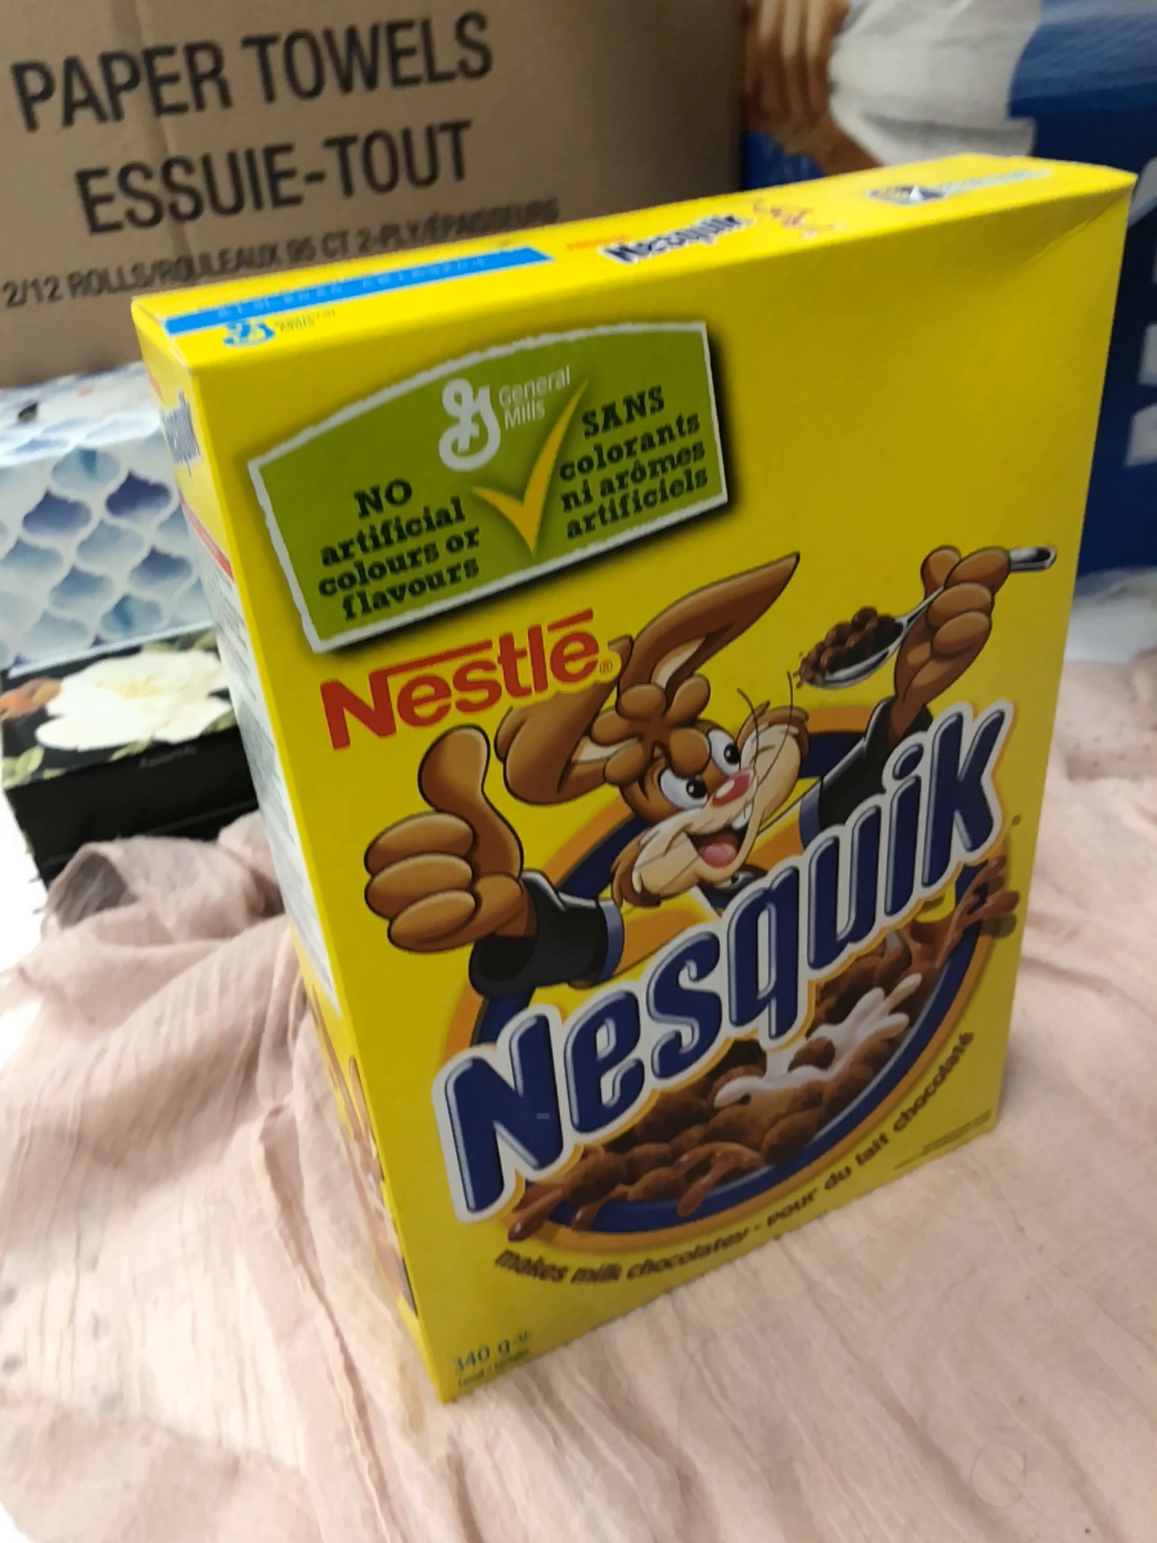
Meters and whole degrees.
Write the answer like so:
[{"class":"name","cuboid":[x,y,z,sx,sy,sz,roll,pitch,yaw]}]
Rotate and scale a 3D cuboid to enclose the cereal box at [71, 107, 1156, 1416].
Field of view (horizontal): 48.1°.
[{"class":"cereal box","cuboid":[0.027,0.007,0.300,0.200,0.259,0.060,-19,36,-18]}]
